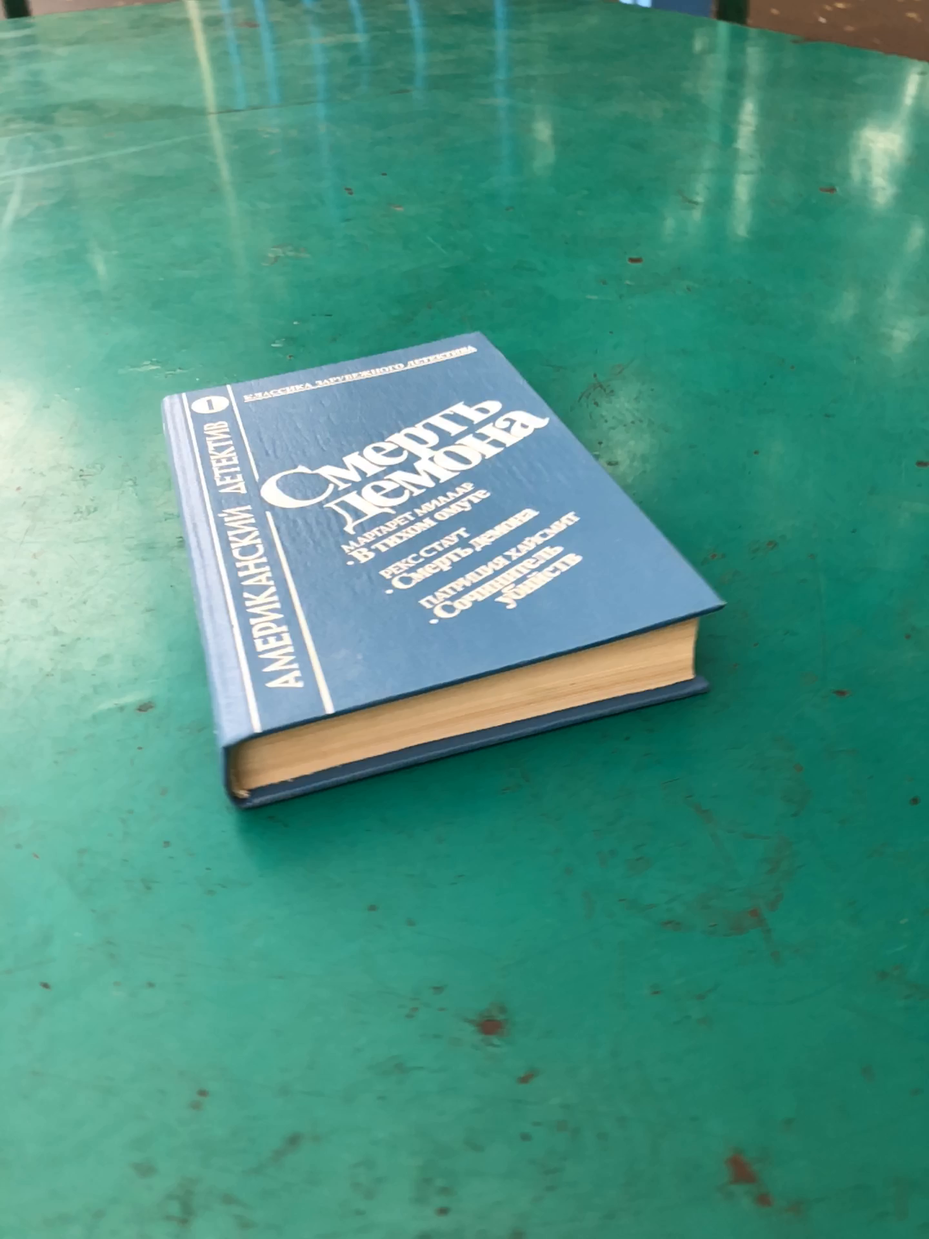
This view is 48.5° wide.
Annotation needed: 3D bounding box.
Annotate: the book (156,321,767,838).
[{"bbox_3d":[-0.020,-0.035,0.342,0.142,0.034,0.213,-14,37,-11],"label":"book"}]
